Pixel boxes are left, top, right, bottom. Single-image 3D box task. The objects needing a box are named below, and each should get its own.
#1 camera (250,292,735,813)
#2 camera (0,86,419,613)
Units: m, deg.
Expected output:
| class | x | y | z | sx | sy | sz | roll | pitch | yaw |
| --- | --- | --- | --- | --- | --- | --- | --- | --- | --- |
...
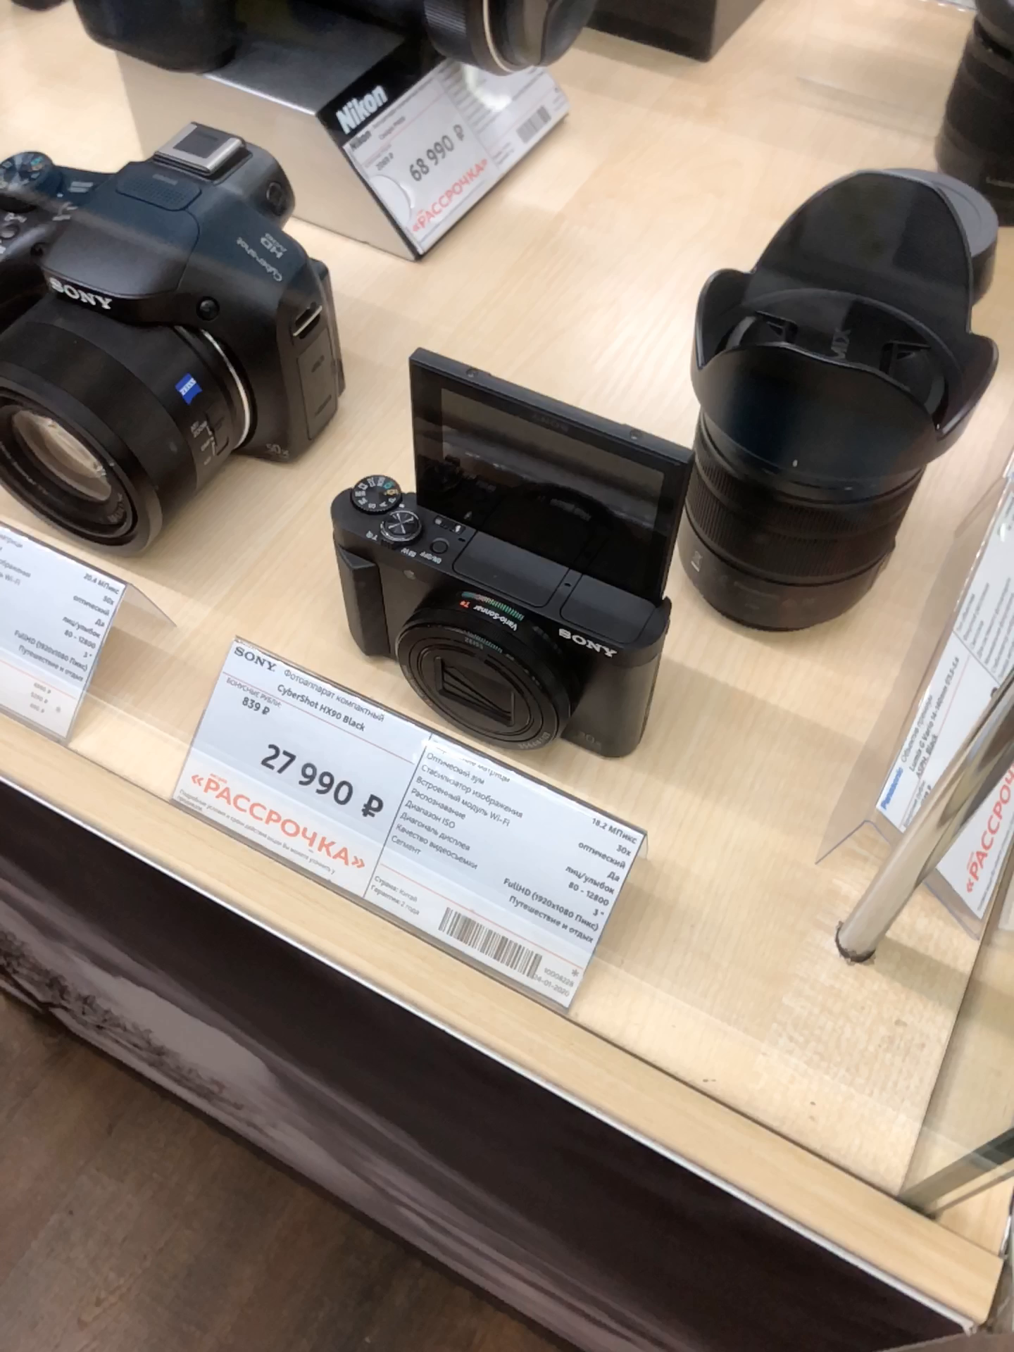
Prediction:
| class | x | y | z | sx | sy | sz | roll | pitch | yaw |
| --- | --- | --- | --- | --- | --- | --- | --- | --- | --- |
| camera | -0.004 | -0.029 | 0.302 | 0.100 | 0.107 | 0.050 | 25 | 59 | 16 |
| camera | -0.125 | -0.119 | 0.392 | 0.132 | 0.078 | 0.136 | 25 | 59 | 16 |
